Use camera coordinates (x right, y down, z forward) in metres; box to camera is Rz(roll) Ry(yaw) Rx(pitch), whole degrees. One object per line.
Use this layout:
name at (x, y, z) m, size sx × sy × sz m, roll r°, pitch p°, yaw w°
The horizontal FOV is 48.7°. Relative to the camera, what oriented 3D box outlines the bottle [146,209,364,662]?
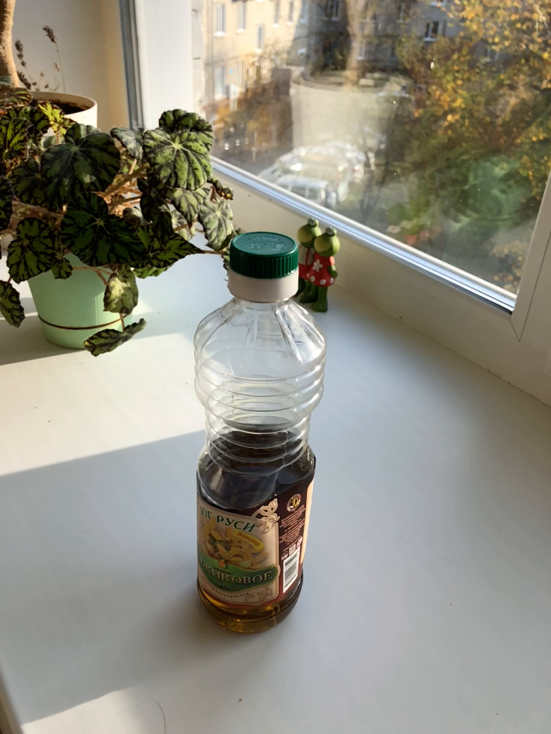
bottle at (-0.011, 0.042, 0.307) m, size 0.061 × 0.217 × 0.068 m, roll 23°, pitch 37°, yaw 28°
